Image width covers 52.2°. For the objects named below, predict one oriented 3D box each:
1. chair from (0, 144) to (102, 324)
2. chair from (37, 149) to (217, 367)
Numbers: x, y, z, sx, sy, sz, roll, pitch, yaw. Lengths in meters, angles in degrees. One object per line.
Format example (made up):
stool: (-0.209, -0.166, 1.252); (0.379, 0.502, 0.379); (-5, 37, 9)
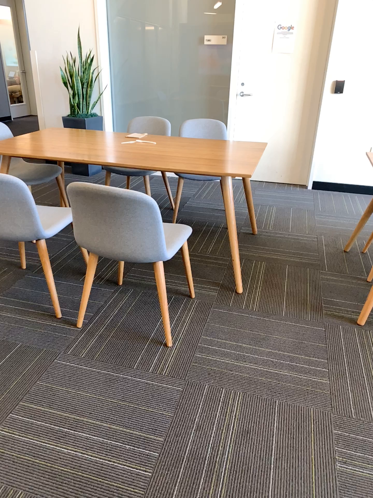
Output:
chair: (-0.867, -0.112, 2.086); (0.570, 0.776, 0.533); (8, 26, 12)
chair: (-0.232, 0.000, 1.844); (0.591, 0.795, 0.573); (10, 27, 16)
